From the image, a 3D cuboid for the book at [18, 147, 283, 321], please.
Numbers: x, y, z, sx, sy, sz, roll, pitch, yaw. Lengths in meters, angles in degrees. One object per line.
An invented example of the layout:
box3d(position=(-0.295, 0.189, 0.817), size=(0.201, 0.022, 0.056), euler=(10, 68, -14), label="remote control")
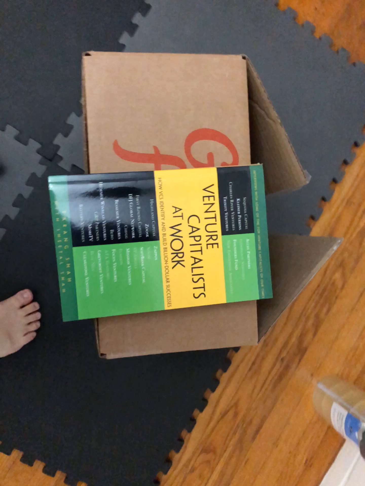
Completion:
box3d(position=(-0.029, -0.013, 0.433), size=(0.260, 0.040, 0.160), euler=(-4, 91, -8), label="book")
